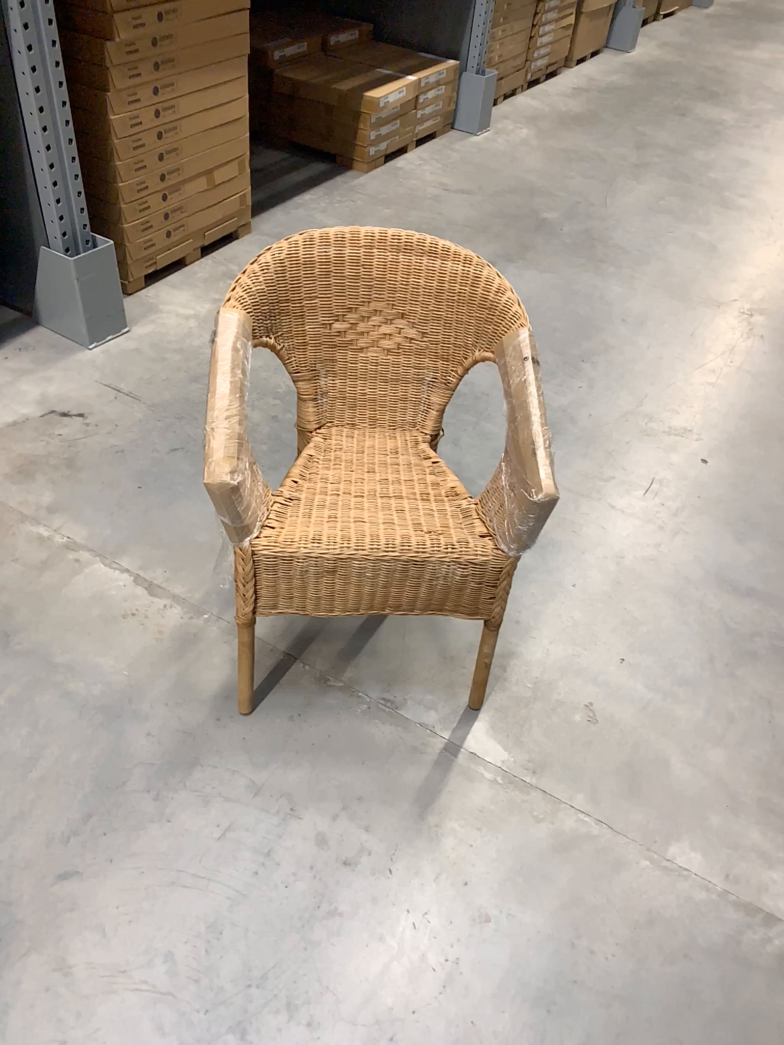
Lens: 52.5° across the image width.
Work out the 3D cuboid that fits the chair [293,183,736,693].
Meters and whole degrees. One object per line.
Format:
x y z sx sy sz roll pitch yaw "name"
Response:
0.164 -0.158 1.574 0.600 0.757 0.653 0 44 0 "chair"
